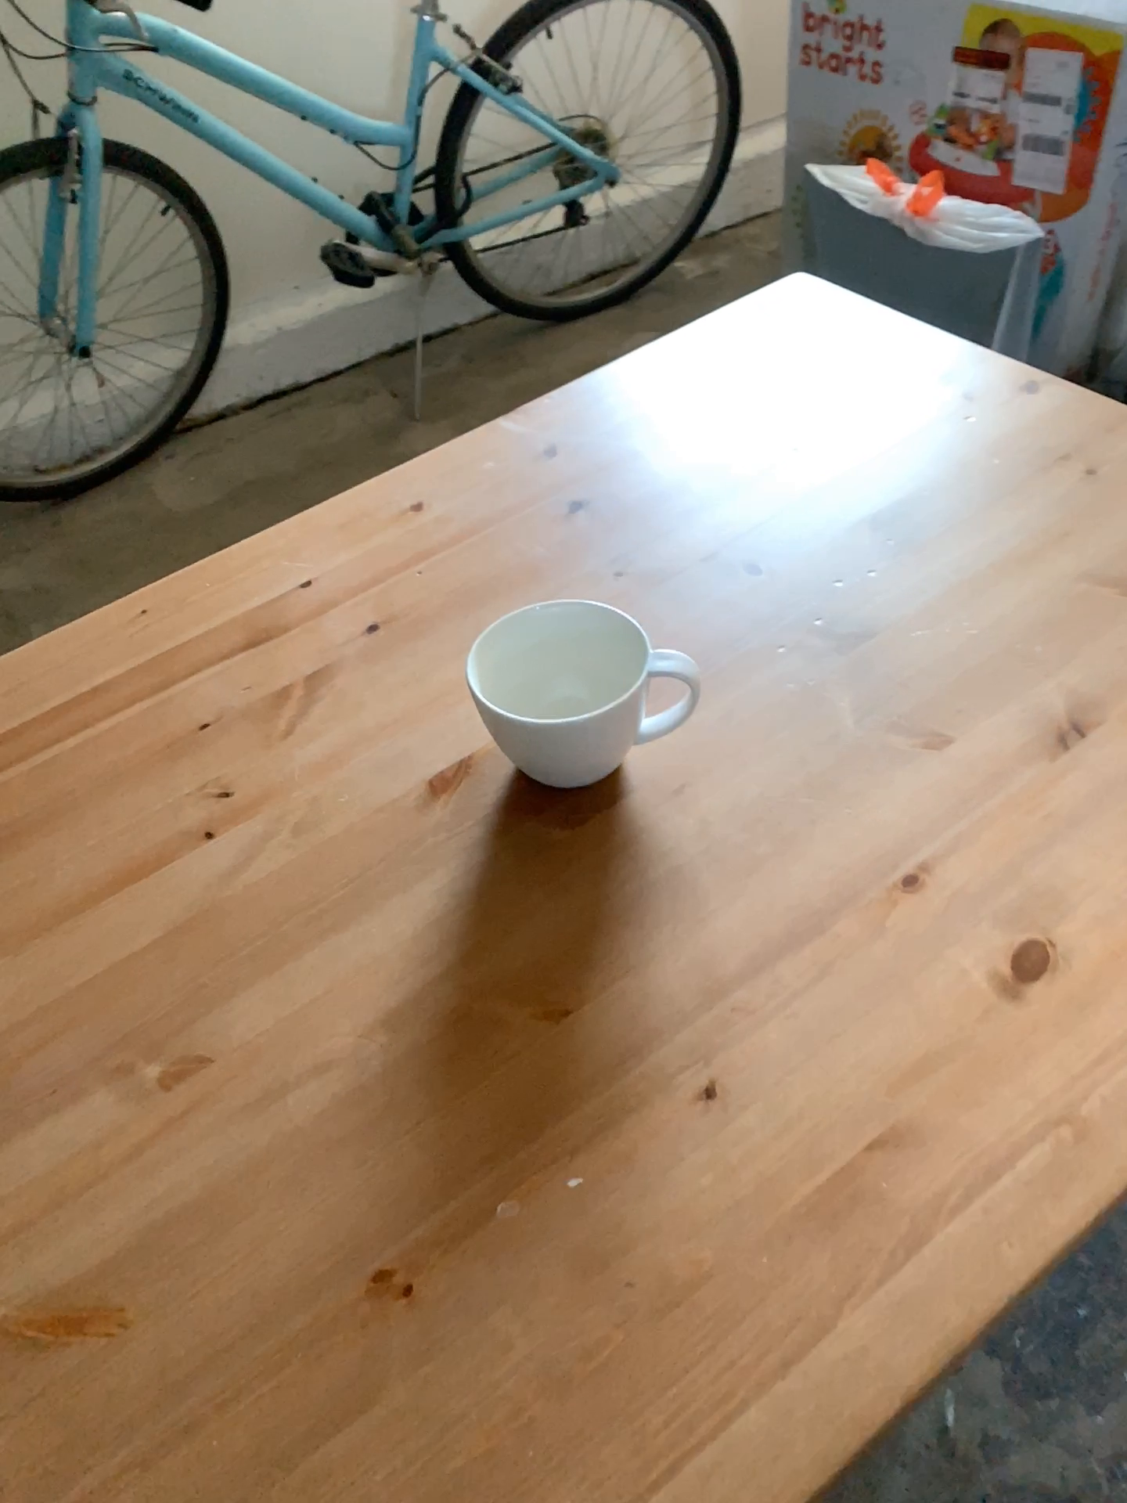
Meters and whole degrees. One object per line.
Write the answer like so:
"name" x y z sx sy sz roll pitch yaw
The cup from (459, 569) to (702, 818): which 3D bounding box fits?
"cup" 0.011 -0.034 0.697 0.130 0.100 0.090 -7 46 2
